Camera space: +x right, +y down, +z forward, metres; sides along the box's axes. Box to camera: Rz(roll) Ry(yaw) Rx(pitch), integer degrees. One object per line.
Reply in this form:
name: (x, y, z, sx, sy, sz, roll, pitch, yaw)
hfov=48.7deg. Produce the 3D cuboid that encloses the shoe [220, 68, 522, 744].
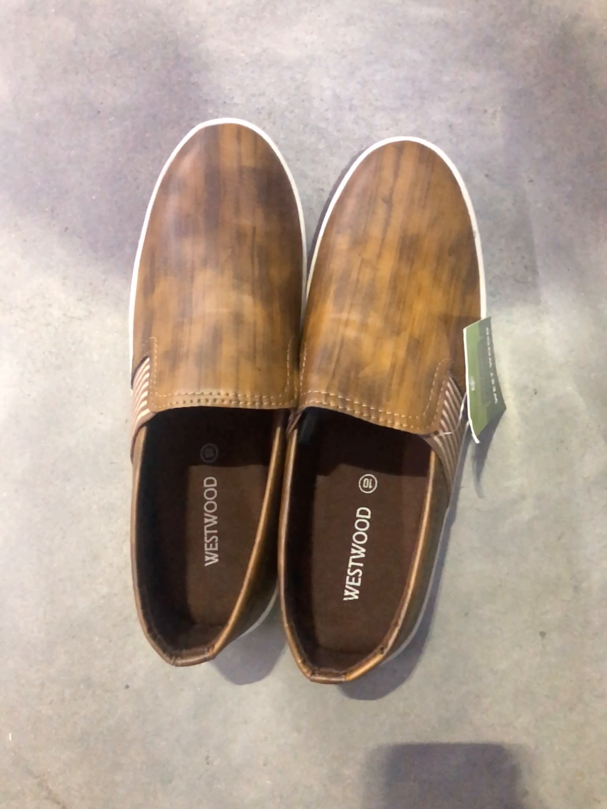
shoe: (0.040, -0.006, 0.364, 0.110, 0.100, 0.310, 6, 84, 8)

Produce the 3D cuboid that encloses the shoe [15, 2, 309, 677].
shoe: (-0.058, -0.030, 0.339, 0.110, 0.100, 0.290, -1, 83, 7)
